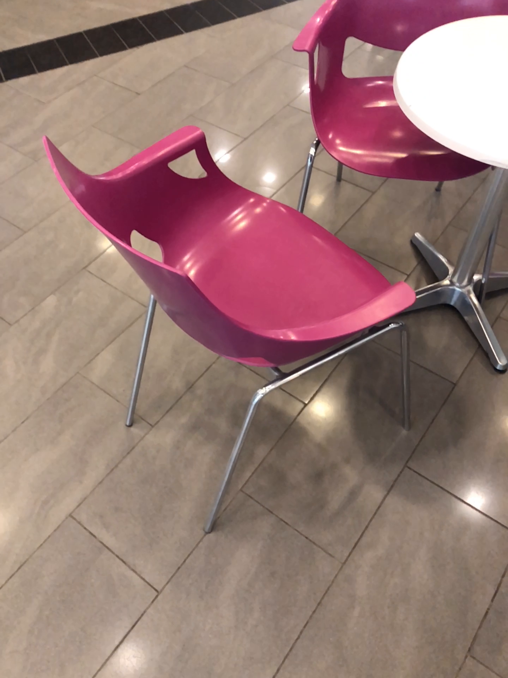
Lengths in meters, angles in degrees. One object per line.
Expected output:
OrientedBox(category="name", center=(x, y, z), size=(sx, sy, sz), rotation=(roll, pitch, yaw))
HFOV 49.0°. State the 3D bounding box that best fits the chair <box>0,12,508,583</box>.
OrientedBox(category="chair", center=(-0.014, -0.061, 1.125), size=(0.591, 0.758, 0.631), rotation=(-31, 58, -20))
